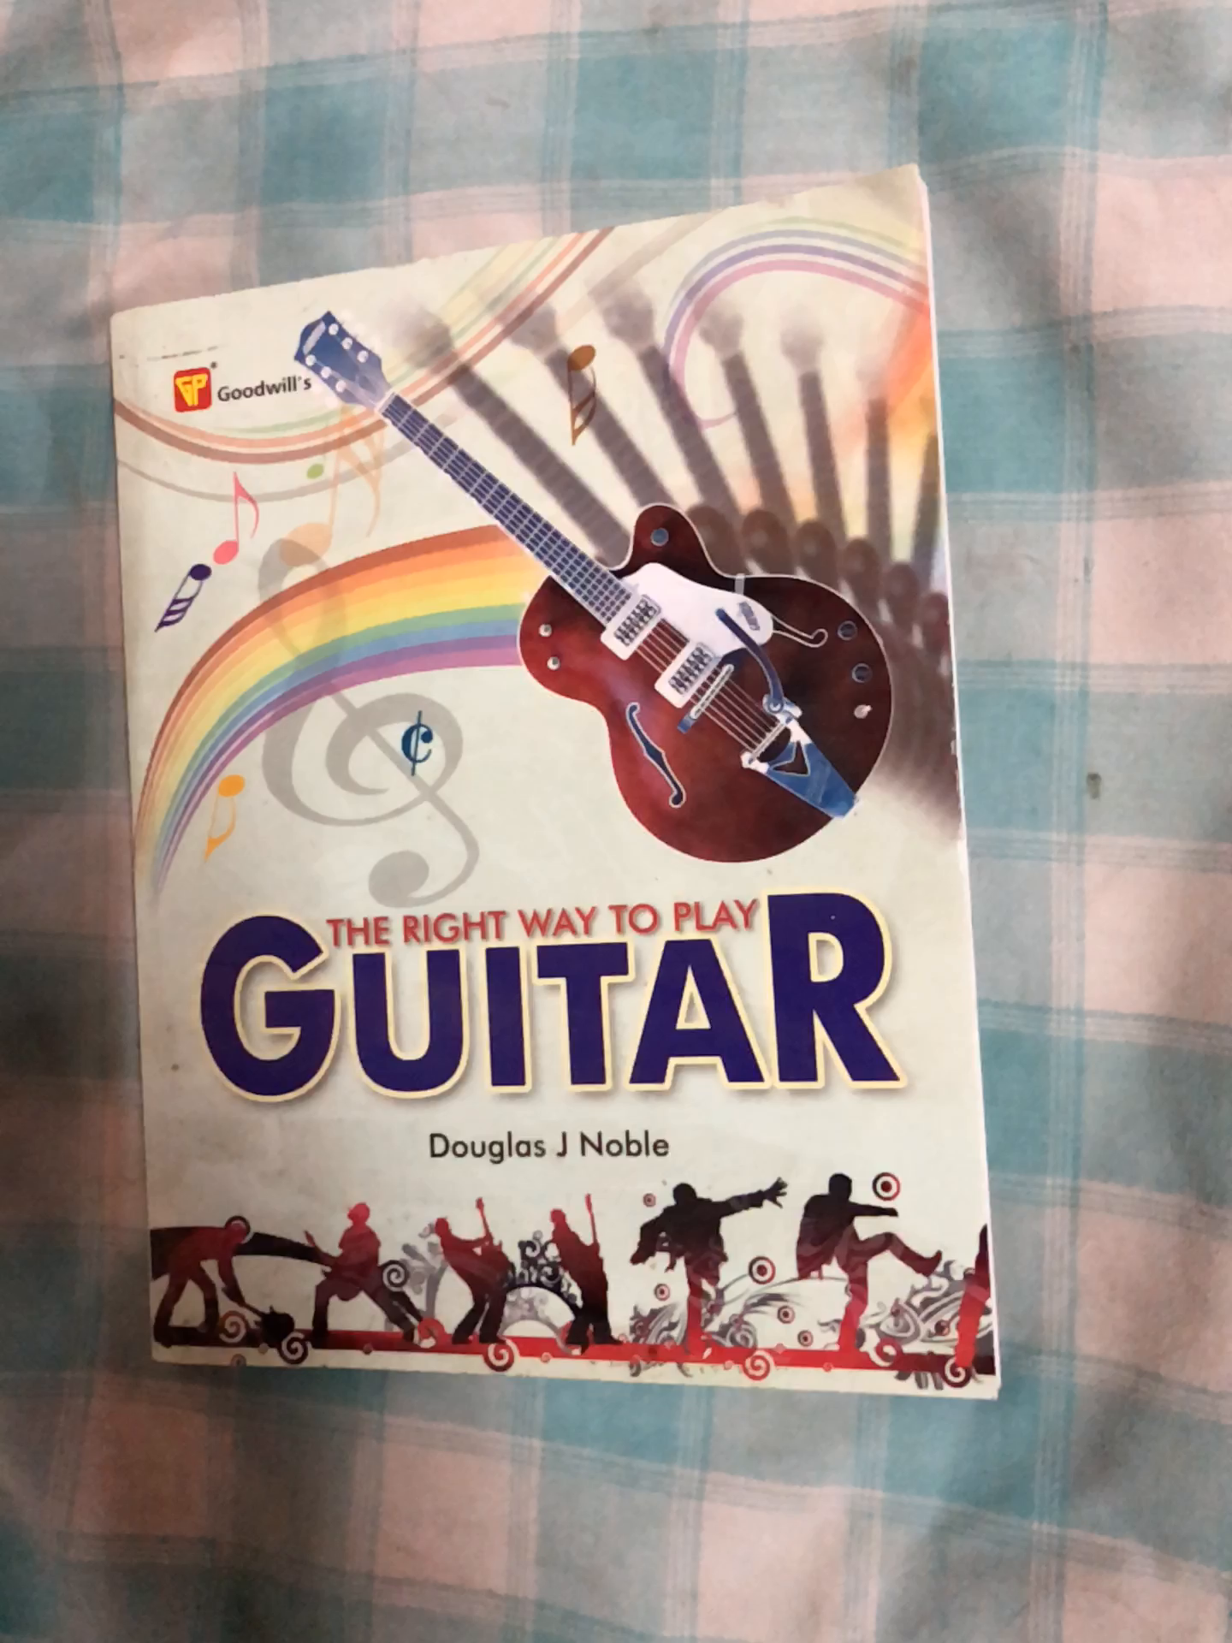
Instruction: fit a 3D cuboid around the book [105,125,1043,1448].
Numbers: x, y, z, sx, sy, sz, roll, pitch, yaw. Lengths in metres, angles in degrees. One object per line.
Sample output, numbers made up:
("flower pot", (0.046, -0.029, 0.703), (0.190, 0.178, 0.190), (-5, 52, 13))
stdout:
("book", (-0.014, -0.003, 0.284), (0.180, 0.030, 0.240), (-4, 87, 14))
